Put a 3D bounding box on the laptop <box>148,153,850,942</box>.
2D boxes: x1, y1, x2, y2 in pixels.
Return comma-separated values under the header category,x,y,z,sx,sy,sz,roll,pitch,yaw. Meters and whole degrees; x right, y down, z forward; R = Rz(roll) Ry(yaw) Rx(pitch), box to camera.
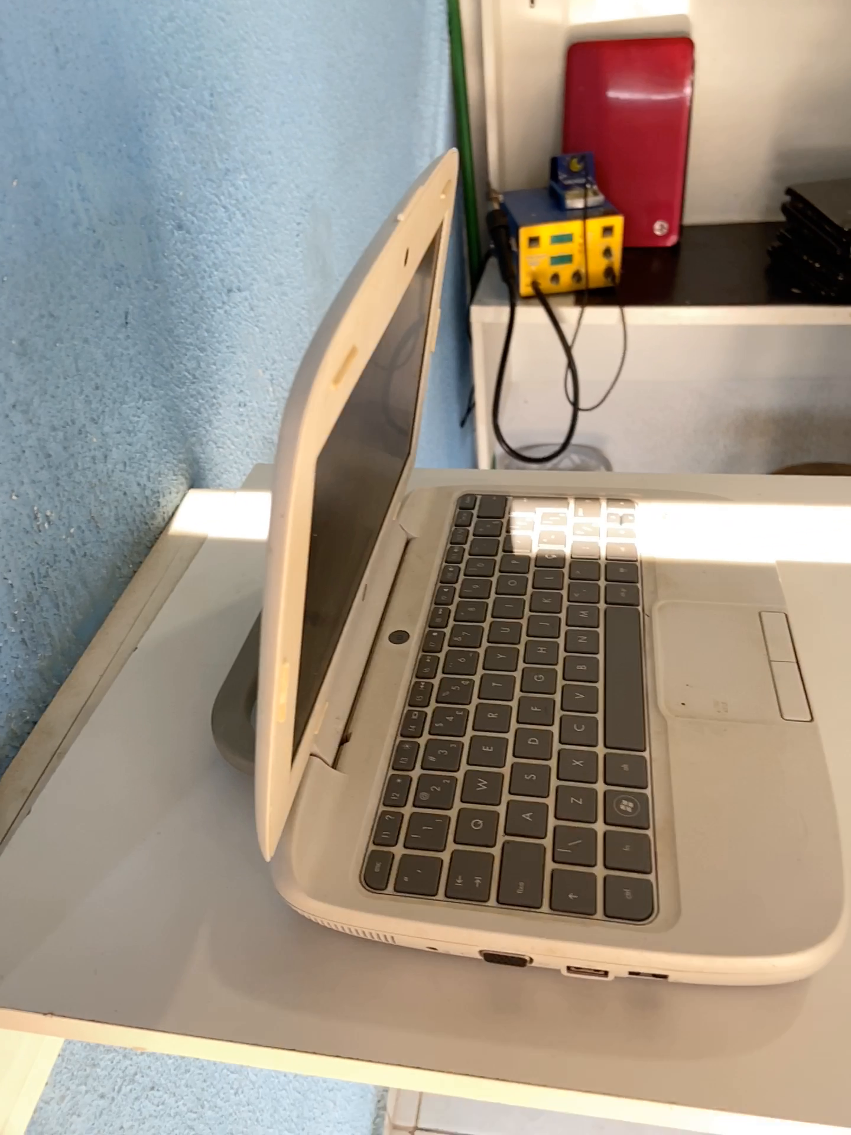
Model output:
category,x,y,z,sx,sy,sz,roll,pitch,yaw
laptop,0.054,-0.032,0.335,0.177,0.172,0.249,3,37,10
